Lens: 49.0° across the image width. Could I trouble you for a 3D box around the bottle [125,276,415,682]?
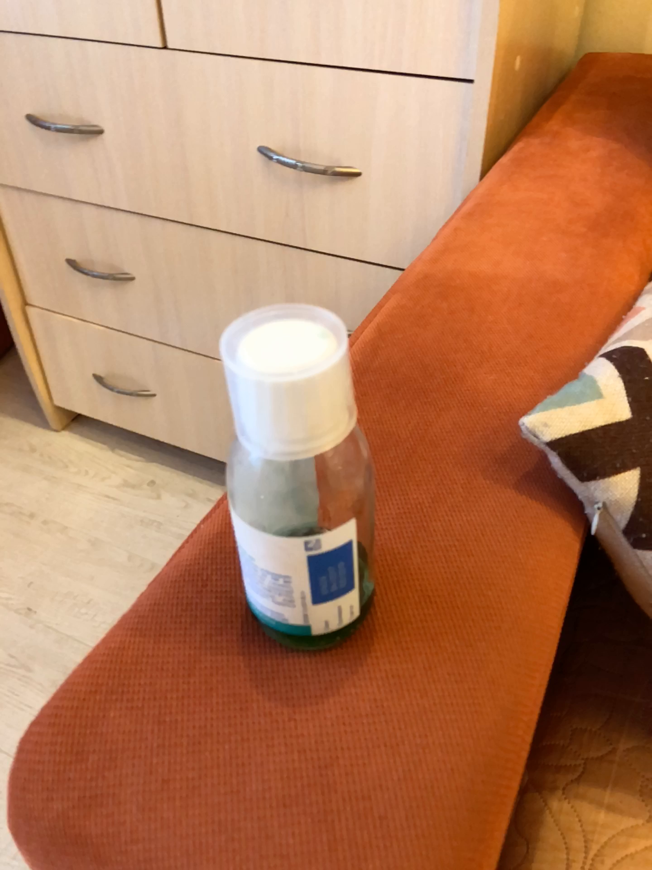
[{"bbox_3d":[-0.012,0.015,0.233,0.060,0.106,0.060,-1,39,1],"label":"bottle"}]
